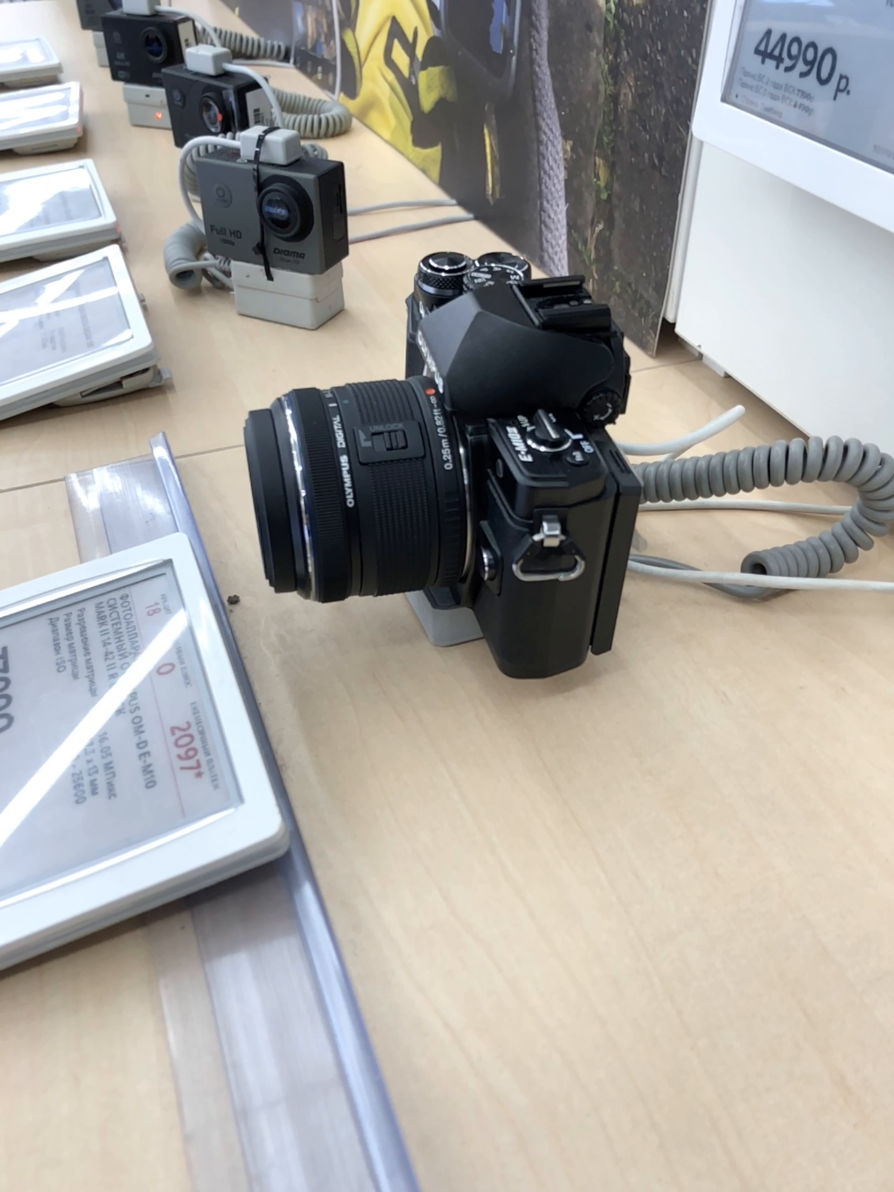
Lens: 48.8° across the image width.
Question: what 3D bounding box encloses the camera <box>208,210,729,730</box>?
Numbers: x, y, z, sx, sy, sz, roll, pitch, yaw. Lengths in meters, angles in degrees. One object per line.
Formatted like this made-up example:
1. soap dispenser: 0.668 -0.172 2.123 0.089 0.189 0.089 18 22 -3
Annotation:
1. camera: -0.003 -0.041 0.265 0.100 0.079 0.113 -9 40 -12
